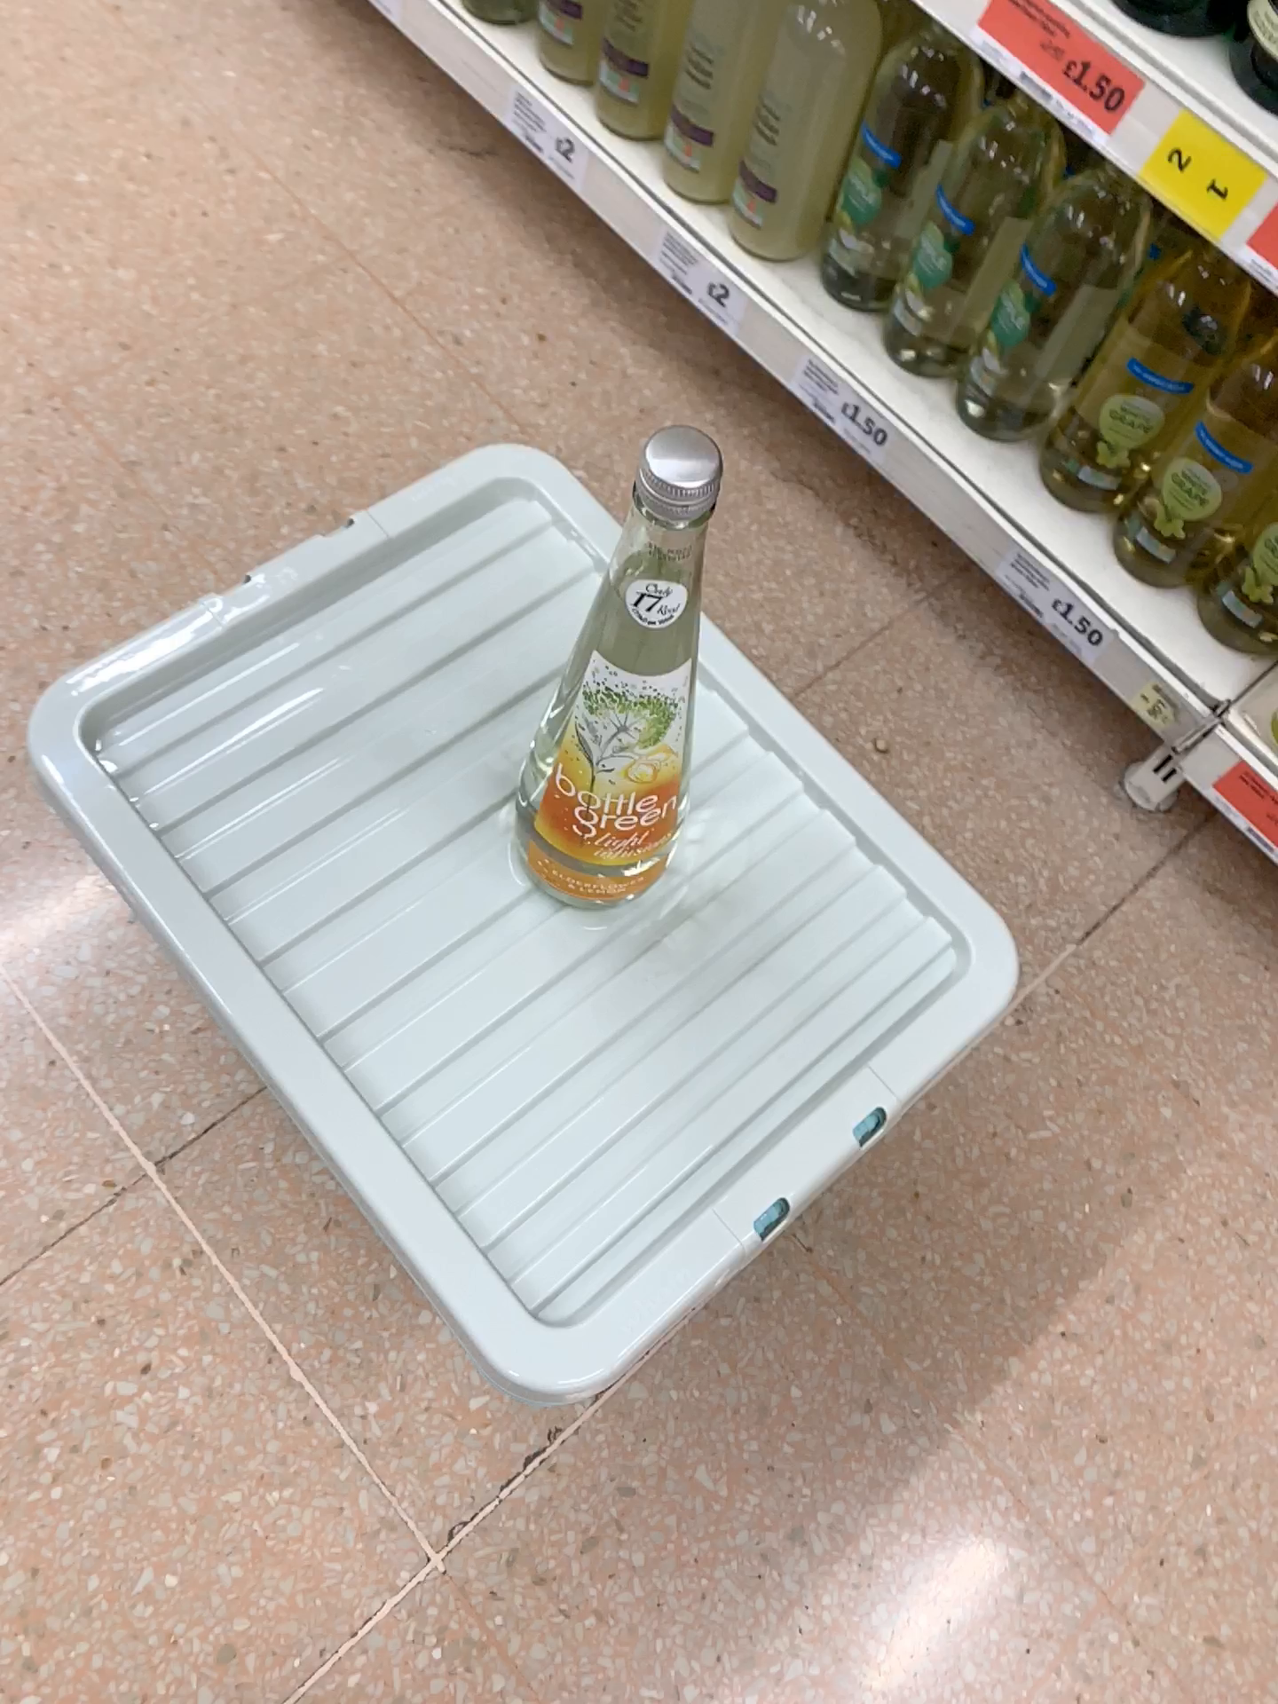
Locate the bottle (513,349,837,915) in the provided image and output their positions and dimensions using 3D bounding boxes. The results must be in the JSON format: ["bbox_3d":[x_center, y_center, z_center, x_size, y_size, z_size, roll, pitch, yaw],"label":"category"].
[{"bbox_3d":[0.000,-0.071,0.569,0.090,0.288,0.090,3,65,-7],"label":"bottle"}]
